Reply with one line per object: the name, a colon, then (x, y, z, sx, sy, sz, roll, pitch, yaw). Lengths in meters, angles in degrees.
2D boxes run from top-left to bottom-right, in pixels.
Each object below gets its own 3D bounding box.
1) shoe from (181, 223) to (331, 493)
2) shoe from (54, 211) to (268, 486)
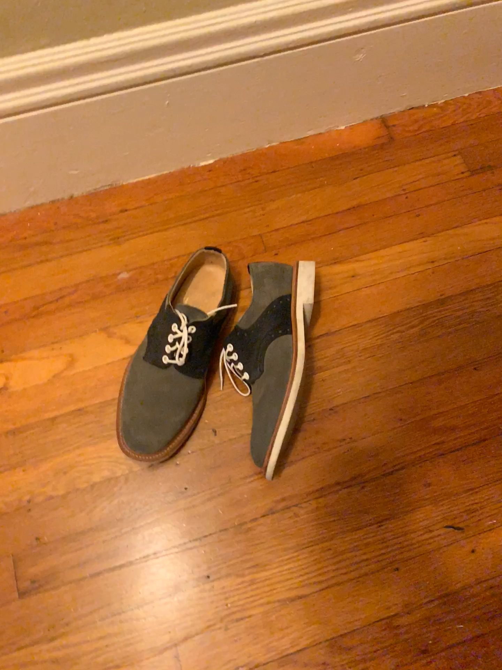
shoe: (0.015, 0.030, 0.669, 0.120, 0.130, 0.310, 10, 70, 6)
shoe: (-0.098, 0.014, 0.655, 0.130, 0.100, 0.310, 21, 71, 8)
